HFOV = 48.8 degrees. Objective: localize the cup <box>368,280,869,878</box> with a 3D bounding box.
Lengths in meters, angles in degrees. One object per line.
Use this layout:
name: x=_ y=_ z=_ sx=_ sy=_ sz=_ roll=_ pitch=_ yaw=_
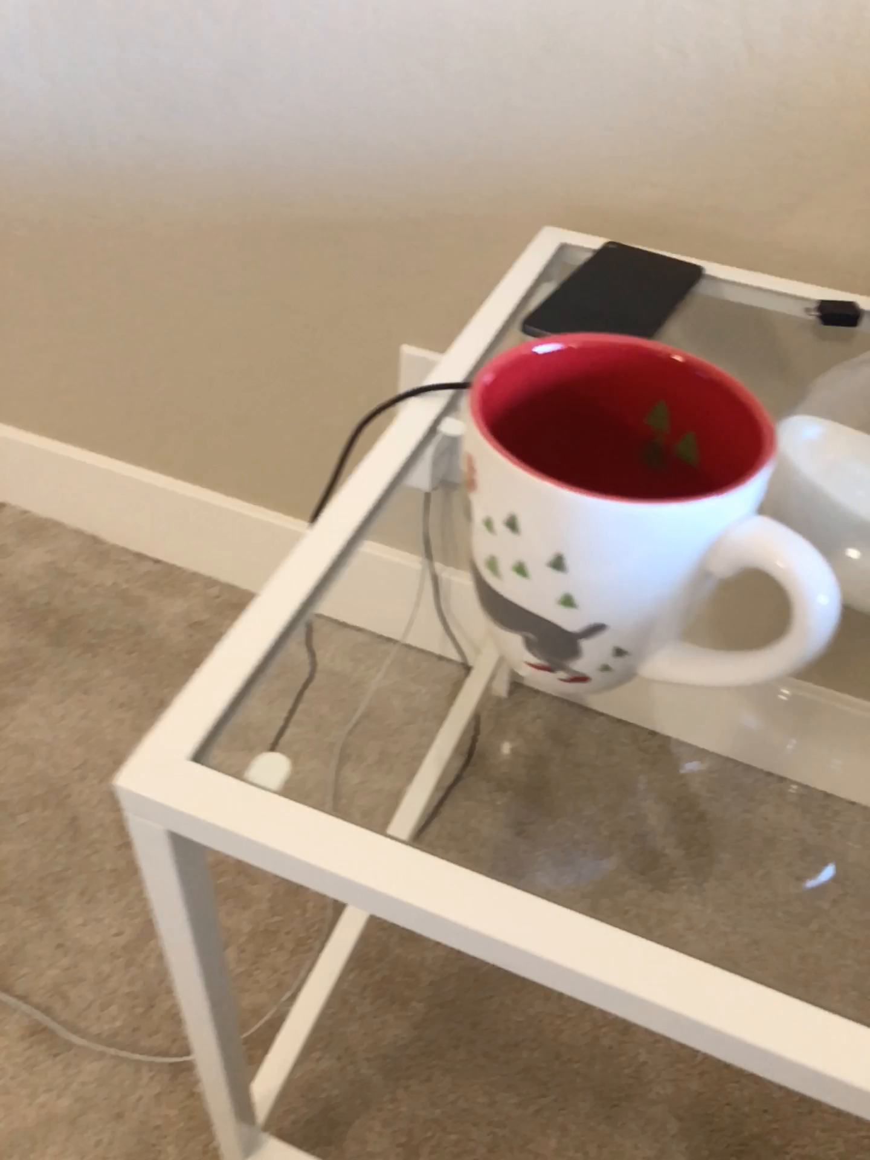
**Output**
cup: x=0.064 y=-0.009 z=0.326 sx=0.100 sy=0.110 sz=0.150 roll=-30 pitch=53 yaw=-31
